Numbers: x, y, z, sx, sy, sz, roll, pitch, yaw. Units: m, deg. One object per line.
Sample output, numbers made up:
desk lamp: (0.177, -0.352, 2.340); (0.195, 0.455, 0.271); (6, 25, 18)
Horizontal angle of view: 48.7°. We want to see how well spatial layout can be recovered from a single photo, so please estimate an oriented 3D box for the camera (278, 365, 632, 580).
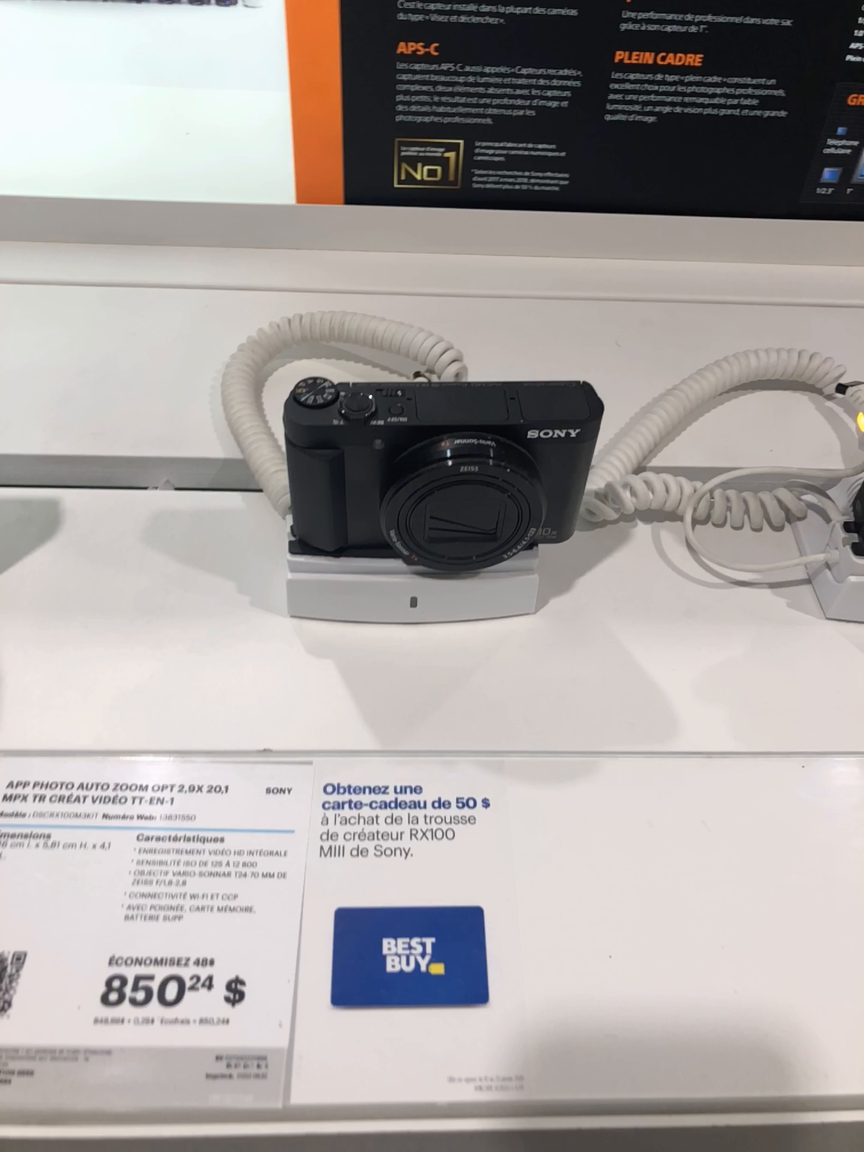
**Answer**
camera: (0.005, -0.035, 0.331); (0.110, 0.070, 0.030); (-1, 47, -5)
